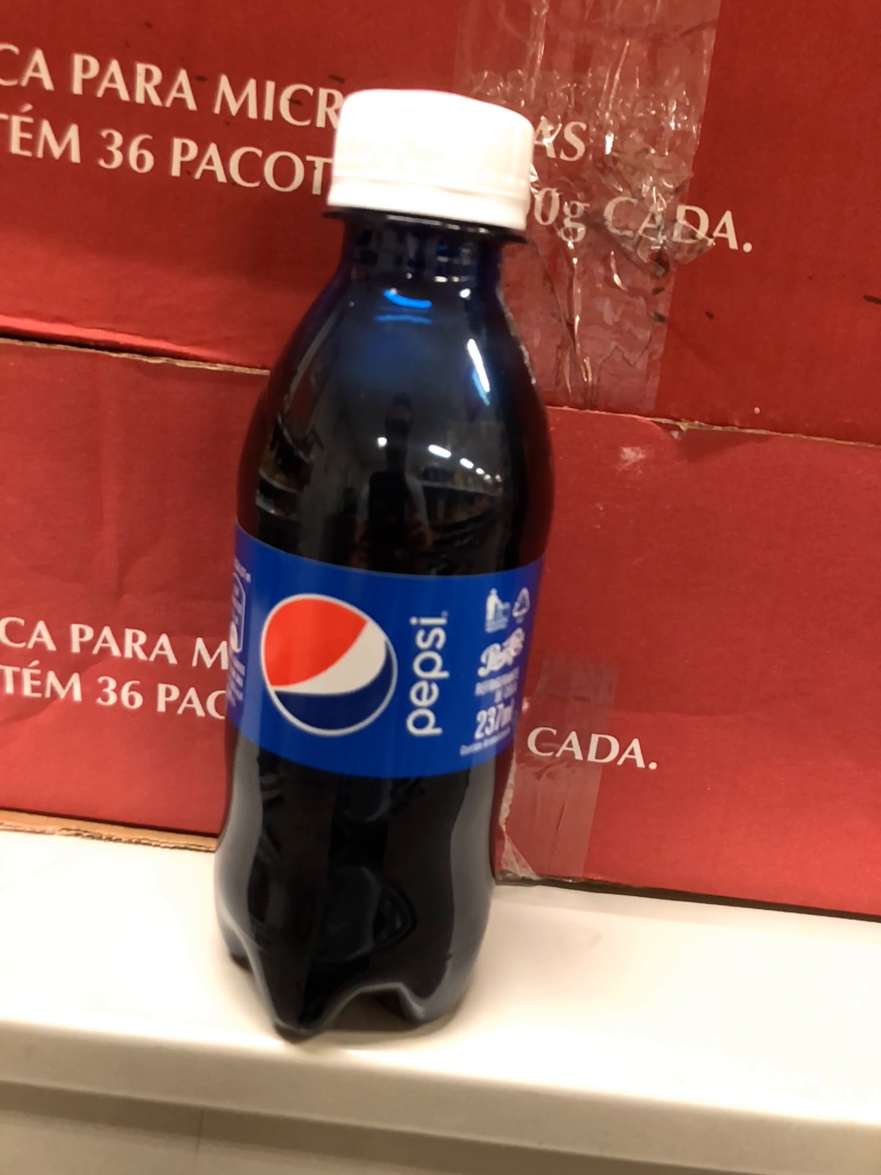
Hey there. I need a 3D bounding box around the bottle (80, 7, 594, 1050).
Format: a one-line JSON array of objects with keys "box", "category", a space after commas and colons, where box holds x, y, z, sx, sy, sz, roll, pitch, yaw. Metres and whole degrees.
[{"box": [-0.017, -0.005, 0.167, 0.060, 0.149, 0.060, 3, 19, -1], "category": "bottle"}]
